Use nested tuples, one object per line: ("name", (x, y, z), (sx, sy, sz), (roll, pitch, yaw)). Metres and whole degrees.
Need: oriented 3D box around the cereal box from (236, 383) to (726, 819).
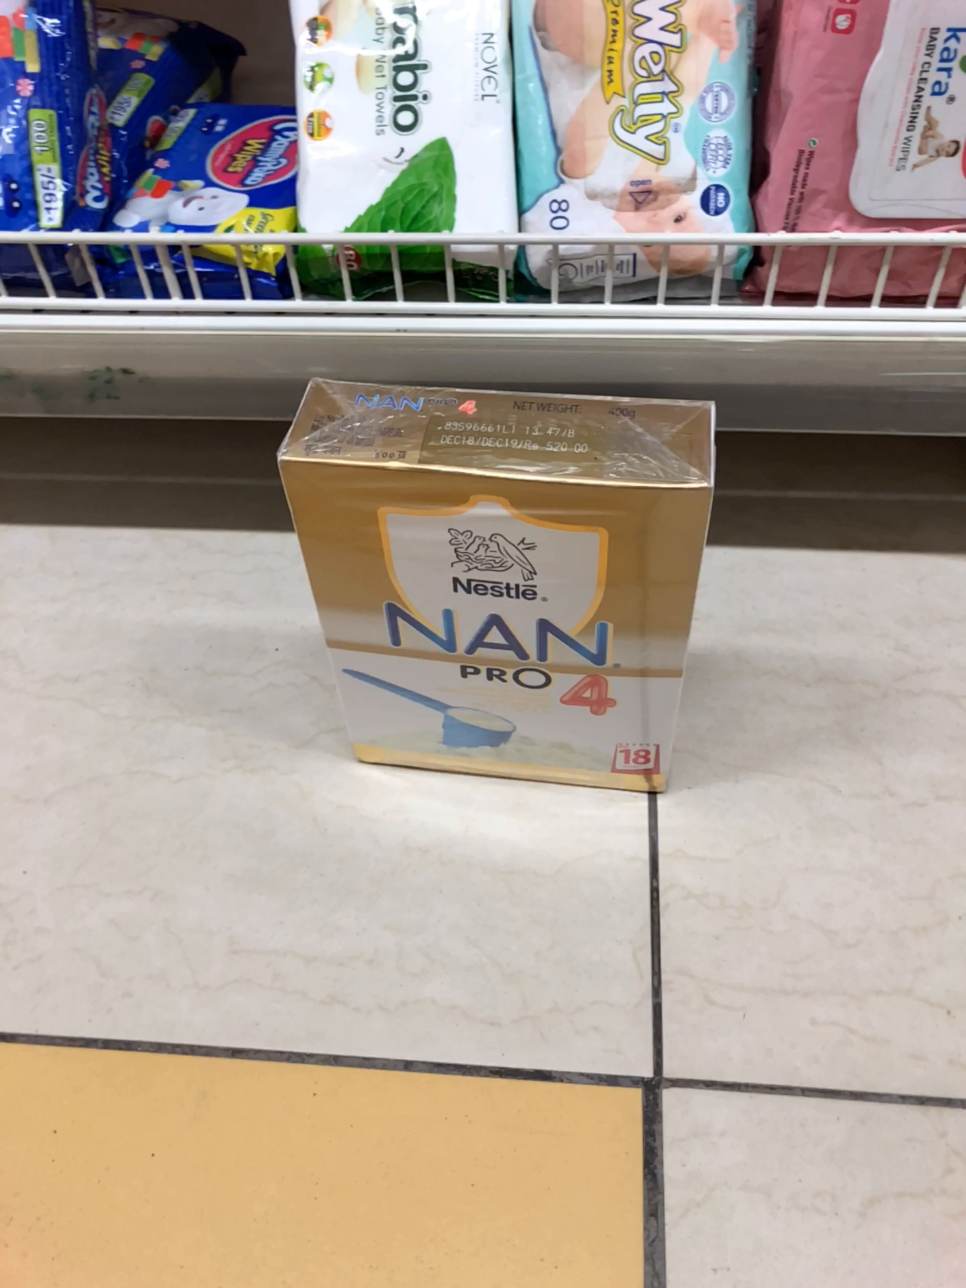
("cereal box", (0.005, -0.008, 0.433), (0.160, 0.189, 0.050), (4, 50, 7))
